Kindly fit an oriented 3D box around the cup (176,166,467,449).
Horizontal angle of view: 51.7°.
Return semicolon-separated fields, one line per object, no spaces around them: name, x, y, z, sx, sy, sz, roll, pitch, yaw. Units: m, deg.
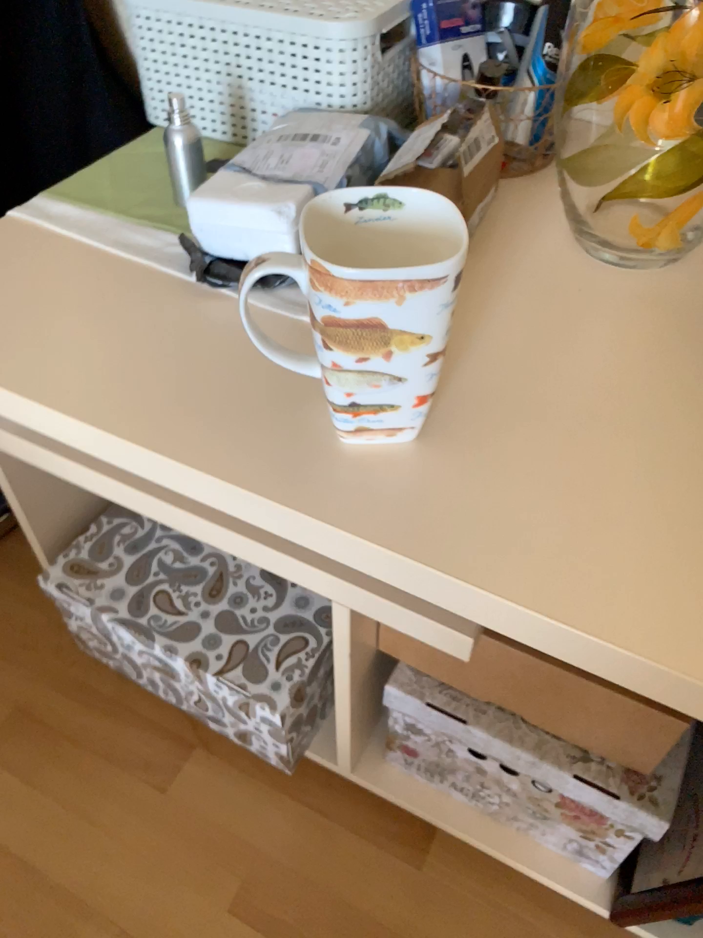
cup;-0.015;-0.094;0.431;0.140;0.129;0.101;0;46;-1
